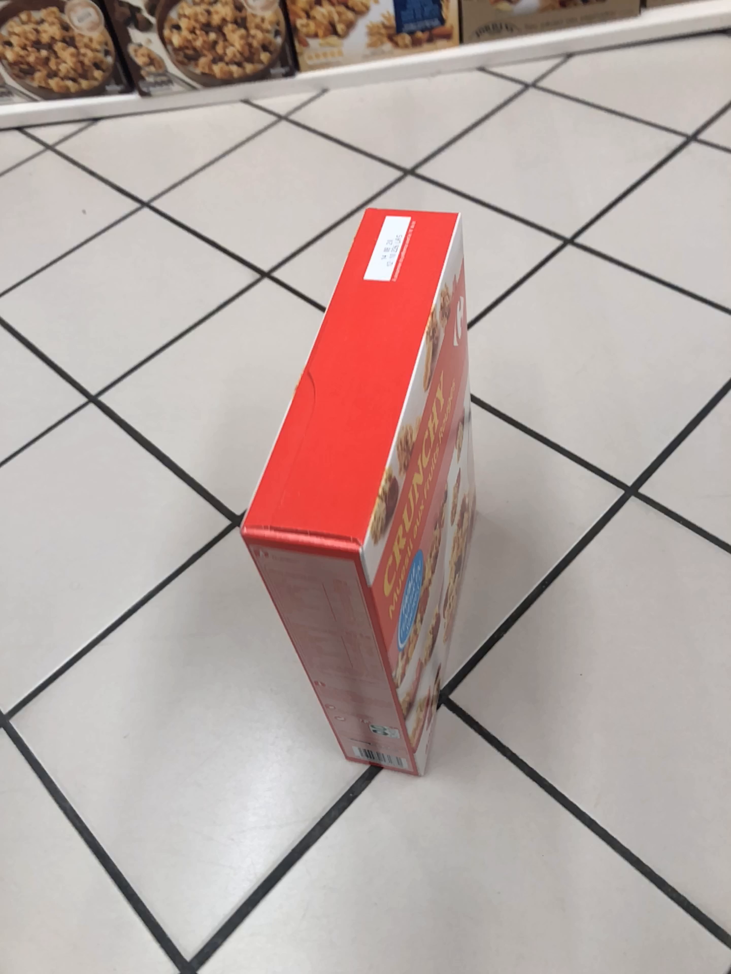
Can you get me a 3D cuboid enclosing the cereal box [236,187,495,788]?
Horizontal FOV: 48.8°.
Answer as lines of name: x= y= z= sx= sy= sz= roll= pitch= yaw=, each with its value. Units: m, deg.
cereal box: x=0.024 y=0.013 z=0.421 sx=0.060 sy=0.249 sz=0.201 roll=6 pitch=54 yaw=14
